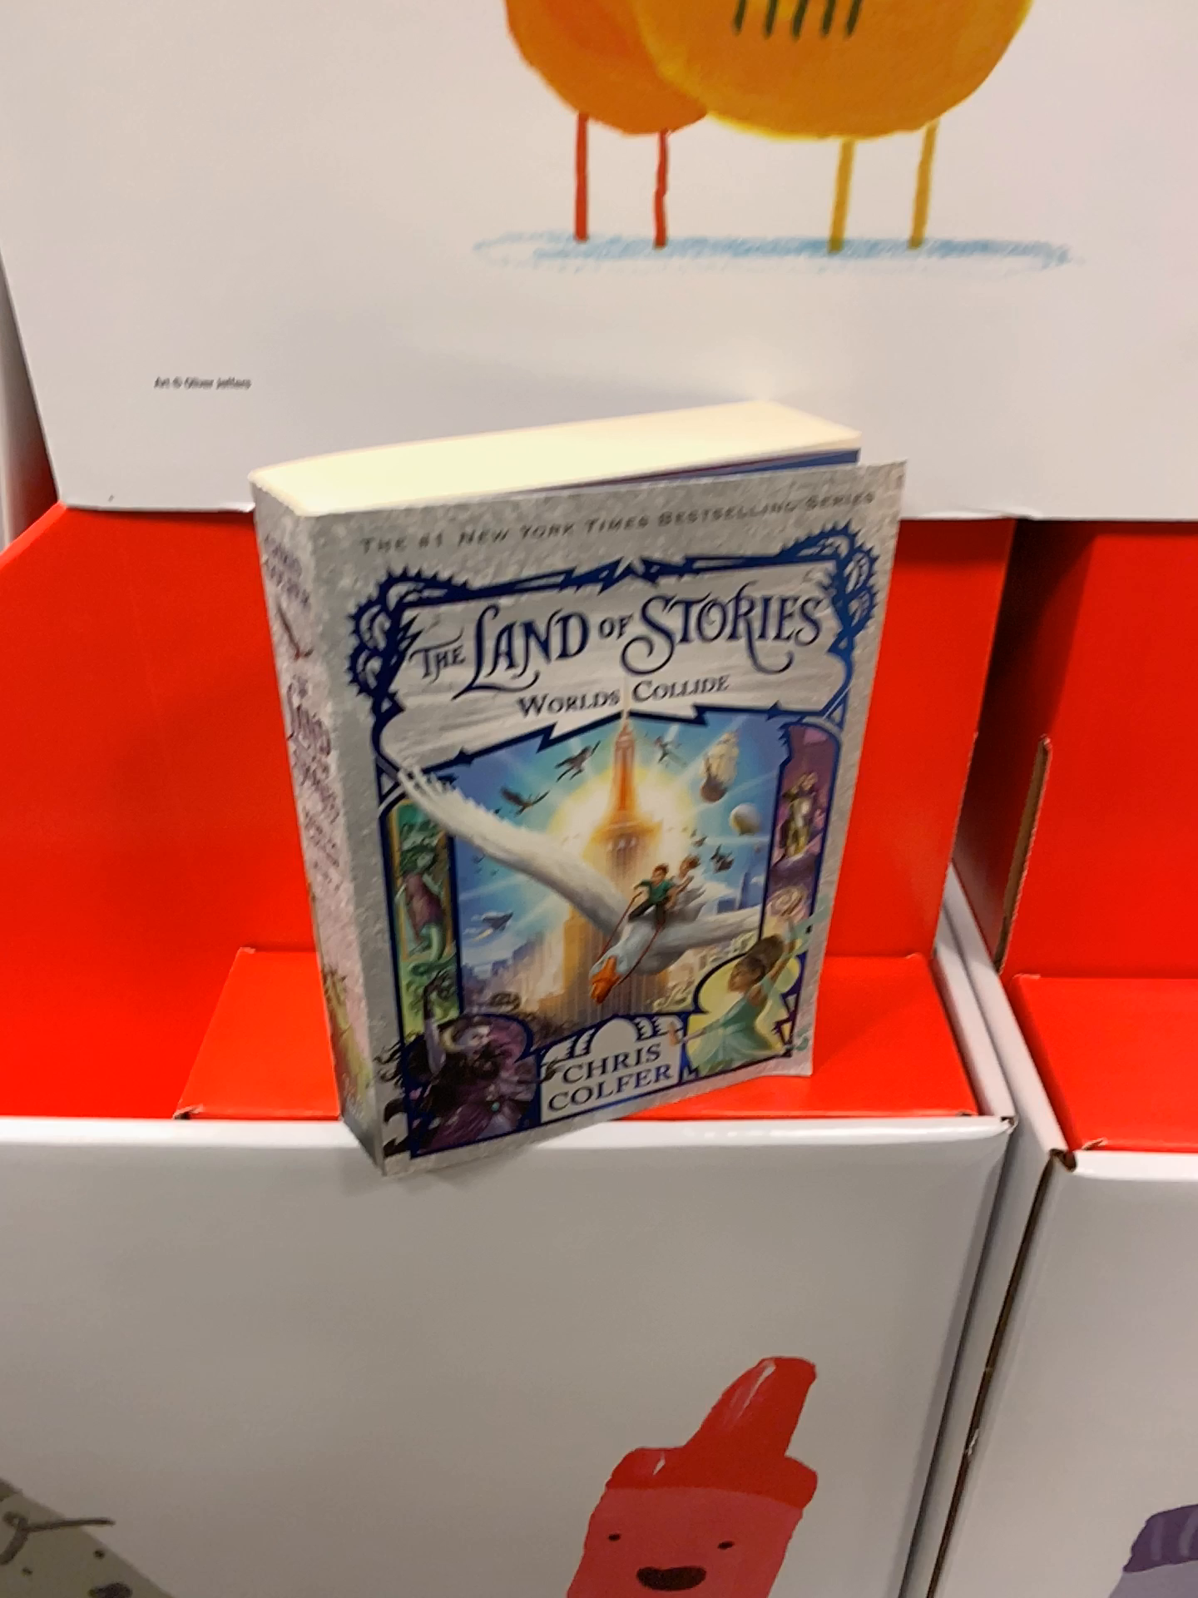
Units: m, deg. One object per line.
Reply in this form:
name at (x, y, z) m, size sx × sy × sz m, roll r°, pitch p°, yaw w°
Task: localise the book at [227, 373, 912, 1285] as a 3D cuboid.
book at (-0.004, 0.007, 0.312) m, size 0.130 × 0.193 × 0.065 m, roll -18°, pitch 36°, yaw -25°
